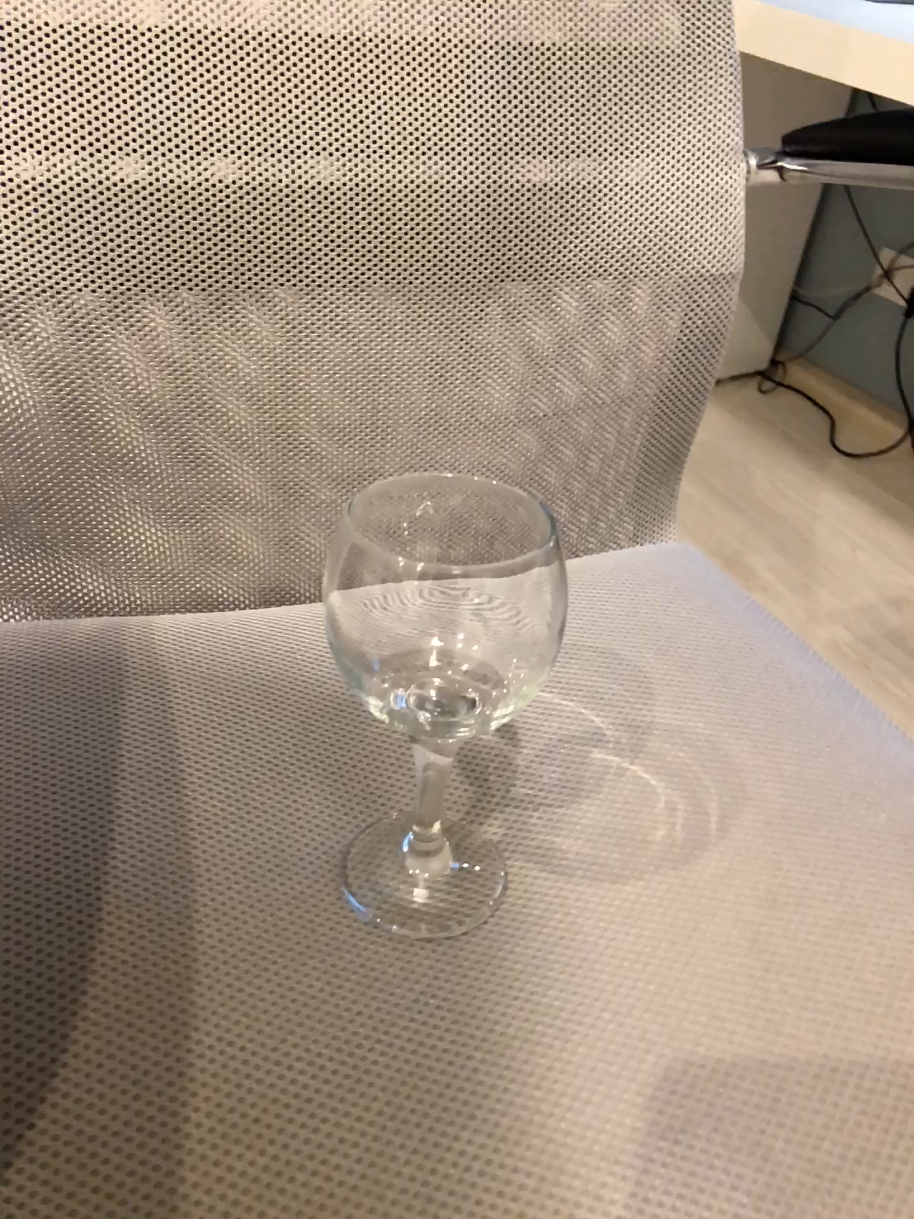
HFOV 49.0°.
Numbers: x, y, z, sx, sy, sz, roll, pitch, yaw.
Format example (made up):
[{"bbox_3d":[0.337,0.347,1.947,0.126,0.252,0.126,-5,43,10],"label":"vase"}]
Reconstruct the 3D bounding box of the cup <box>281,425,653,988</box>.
[{"bbox_3d":[-0.002,0.038,0.371,0.088,0.172,0.081,3,37,-3],"label":"cup"}]
